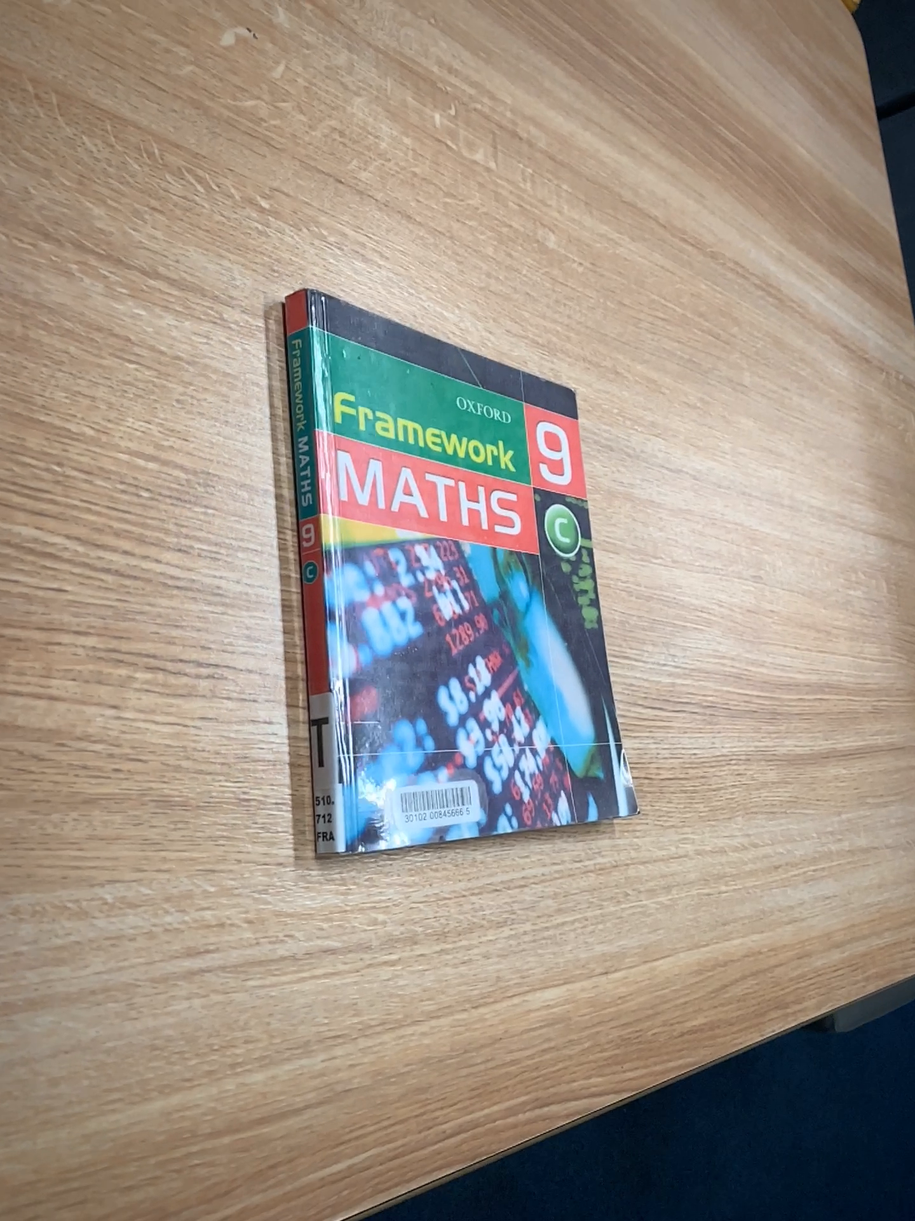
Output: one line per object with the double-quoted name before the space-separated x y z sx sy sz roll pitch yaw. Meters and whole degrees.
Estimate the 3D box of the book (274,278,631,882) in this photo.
"book" 0.005 -0.011 0.445 0.191 0.020 0.244 5 76 -46
